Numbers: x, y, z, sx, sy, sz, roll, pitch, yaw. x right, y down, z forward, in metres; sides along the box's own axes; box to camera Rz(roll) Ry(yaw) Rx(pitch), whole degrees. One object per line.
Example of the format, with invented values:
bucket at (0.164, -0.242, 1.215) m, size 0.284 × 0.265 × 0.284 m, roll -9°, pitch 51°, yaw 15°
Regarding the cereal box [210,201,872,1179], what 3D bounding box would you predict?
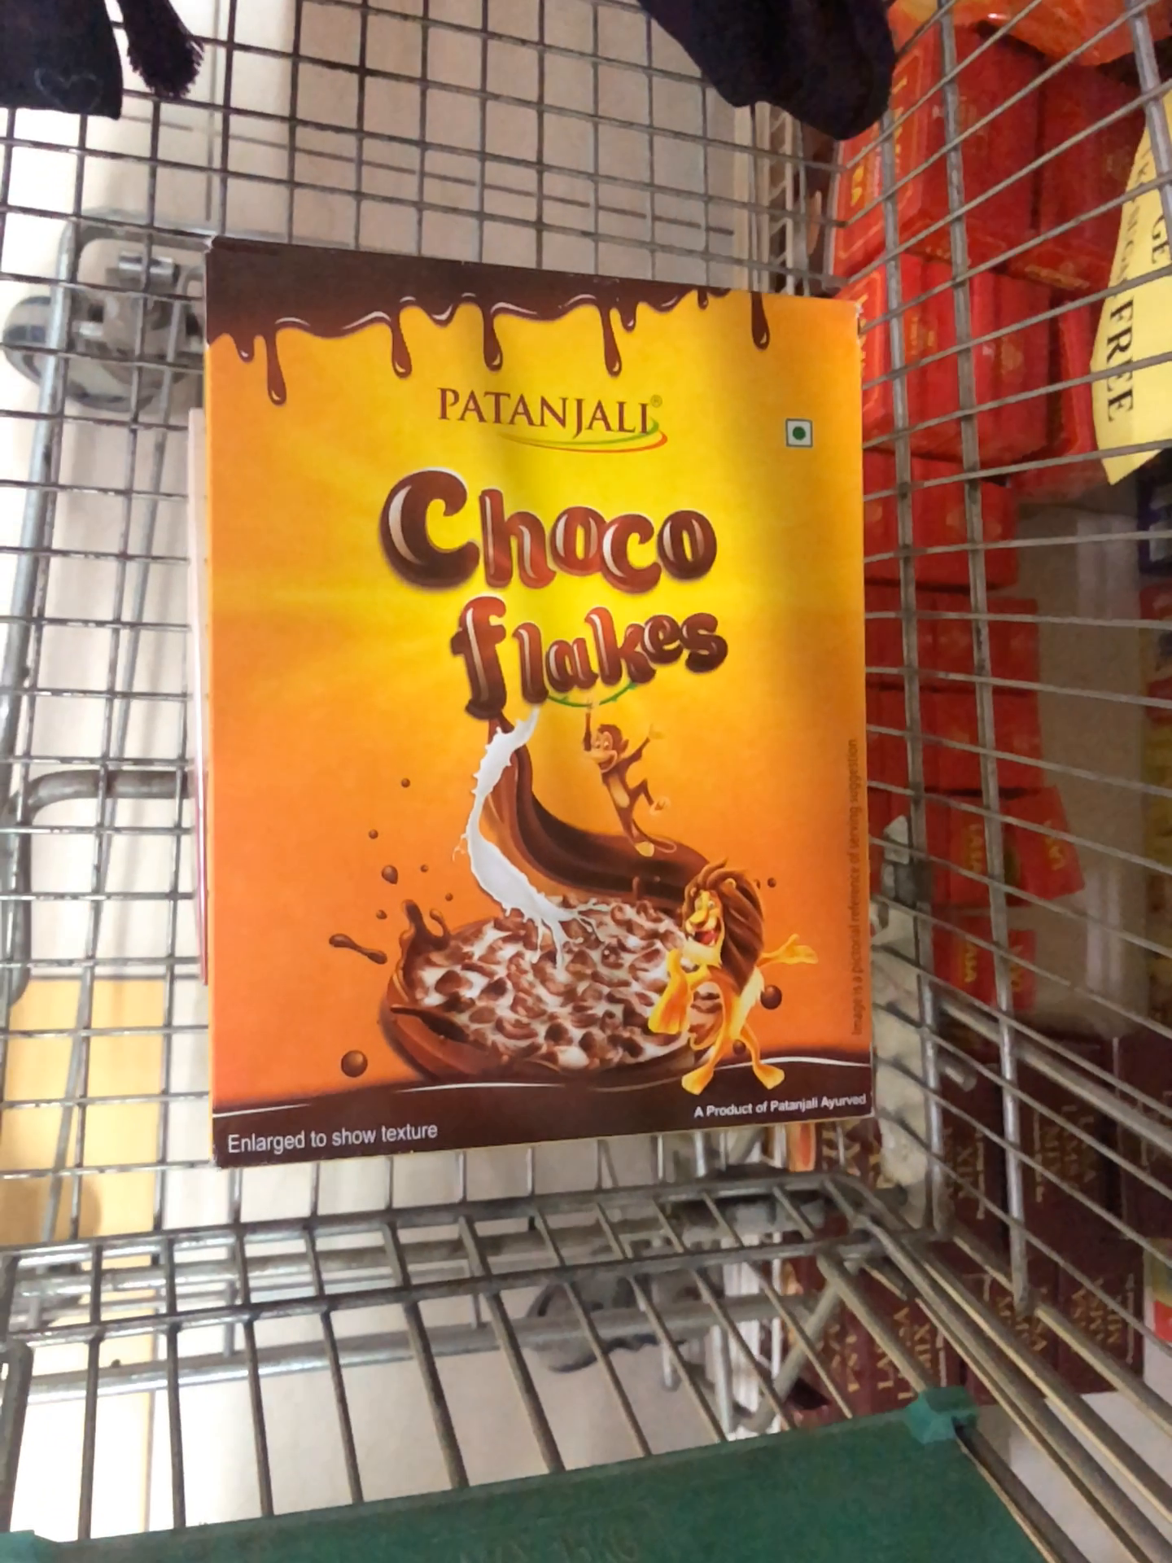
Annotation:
cereal box at (-0.021, -0.022, 0.382) m, size 0.170 × 0.110 × 0.230 m, roll 0°, pitch 89°, yaw -16°
